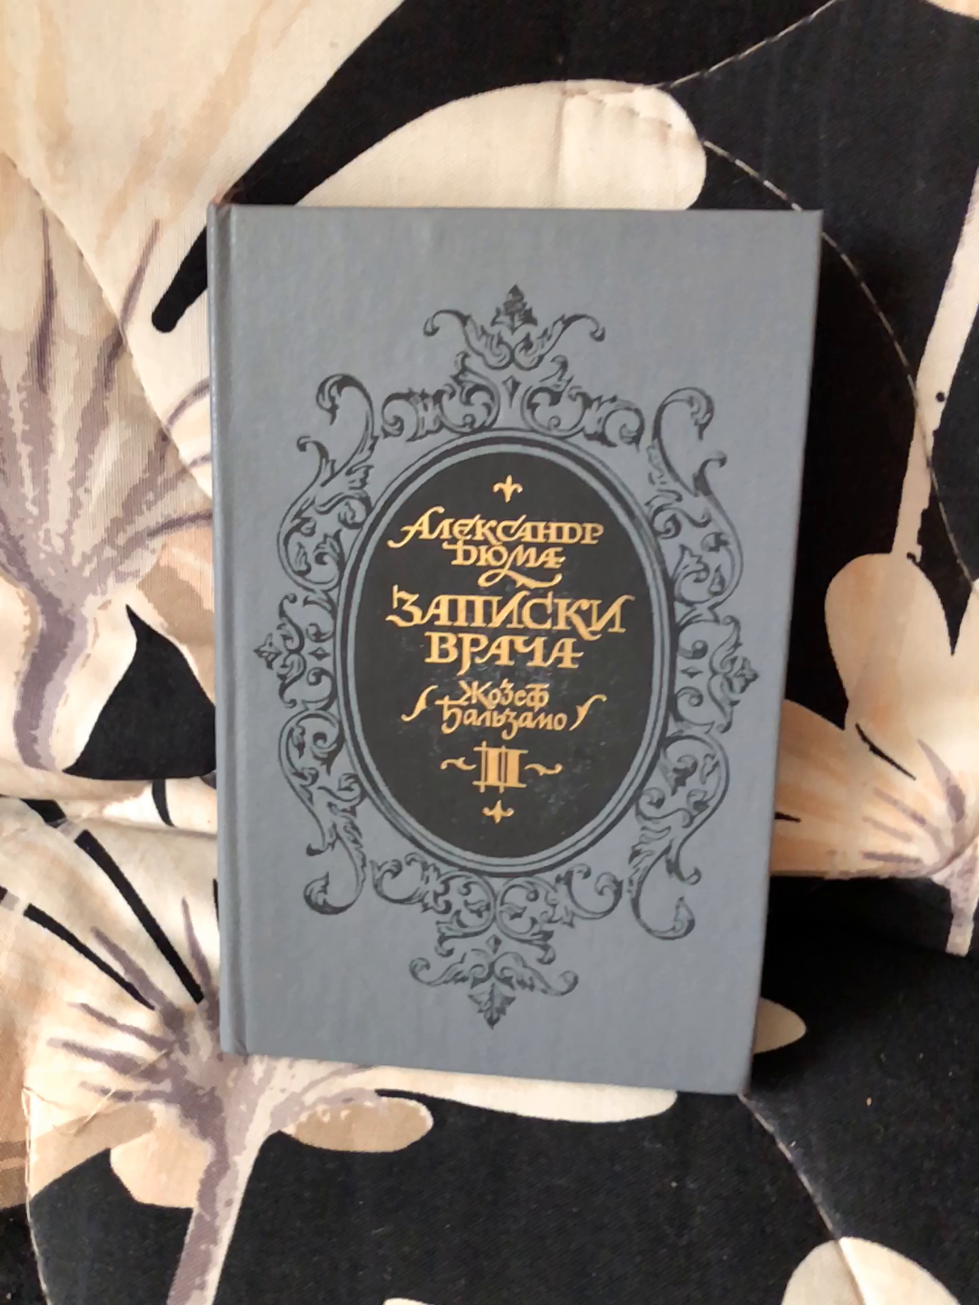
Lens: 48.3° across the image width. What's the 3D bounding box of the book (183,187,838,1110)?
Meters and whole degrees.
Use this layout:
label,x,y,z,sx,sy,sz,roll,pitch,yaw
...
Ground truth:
label,x,y,z,sx,sy,sz,roll,pitch,yaw
book,0.000,0.002,0.267,0.140,0.030,0.210,3,101,4
